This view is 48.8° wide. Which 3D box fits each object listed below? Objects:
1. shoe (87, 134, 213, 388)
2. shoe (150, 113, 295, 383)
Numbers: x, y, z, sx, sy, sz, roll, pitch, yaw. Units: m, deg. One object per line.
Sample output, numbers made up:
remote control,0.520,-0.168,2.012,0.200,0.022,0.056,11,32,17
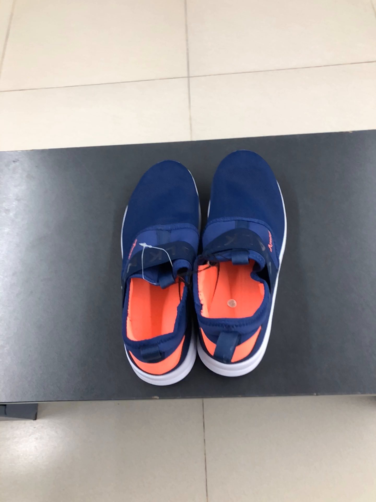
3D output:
shoe,-0.028,0.013,0.471,0.110,0.120,0.261,-1,66,4
shoe,0.048,-0.003,0.423,0.110,0.120,0.241,2,66,12
